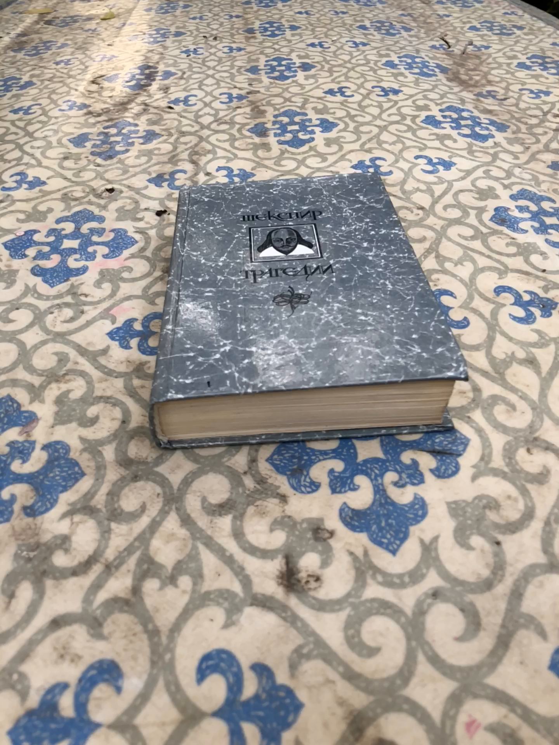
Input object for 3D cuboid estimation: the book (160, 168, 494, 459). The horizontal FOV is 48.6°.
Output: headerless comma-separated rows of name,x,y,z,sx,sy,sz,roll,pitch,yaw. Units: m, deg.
book,0.014,-0.048,0.337,0.134,0.033,0.208,-4,41,-1
